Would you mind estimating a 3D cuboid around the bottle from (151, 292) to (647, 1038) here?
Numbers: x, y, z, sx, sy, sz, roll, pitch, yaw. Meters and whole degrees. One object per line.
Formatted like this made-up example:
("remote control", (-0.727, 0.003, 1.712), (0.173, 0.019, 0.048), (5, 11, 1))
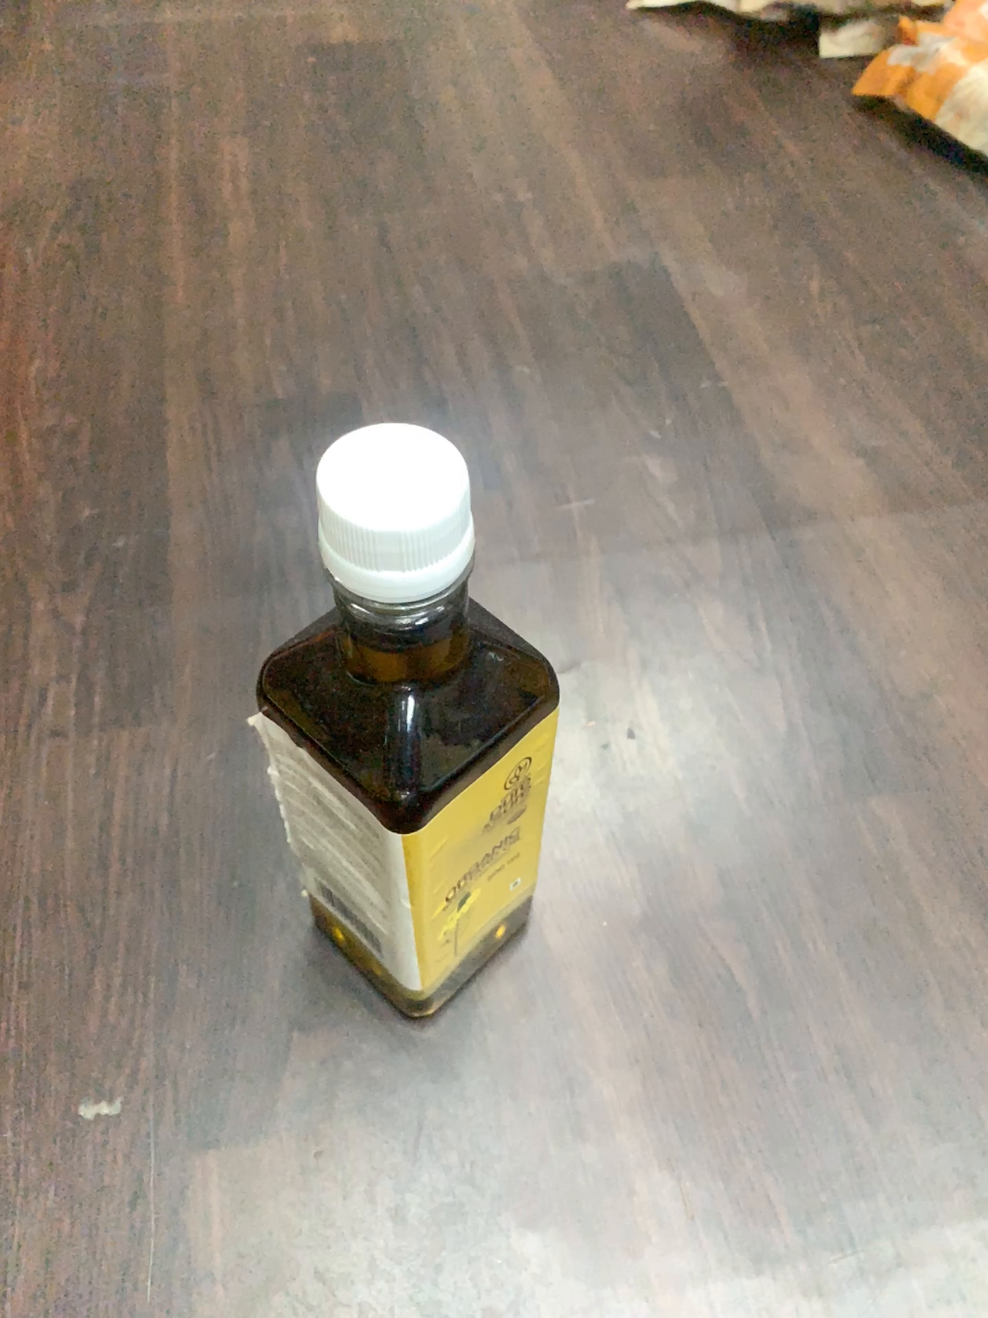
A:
("bottle", (-0.020, 0.022, 0.274), (0.060, 0.209, 0.070), (37, 60, 24))
